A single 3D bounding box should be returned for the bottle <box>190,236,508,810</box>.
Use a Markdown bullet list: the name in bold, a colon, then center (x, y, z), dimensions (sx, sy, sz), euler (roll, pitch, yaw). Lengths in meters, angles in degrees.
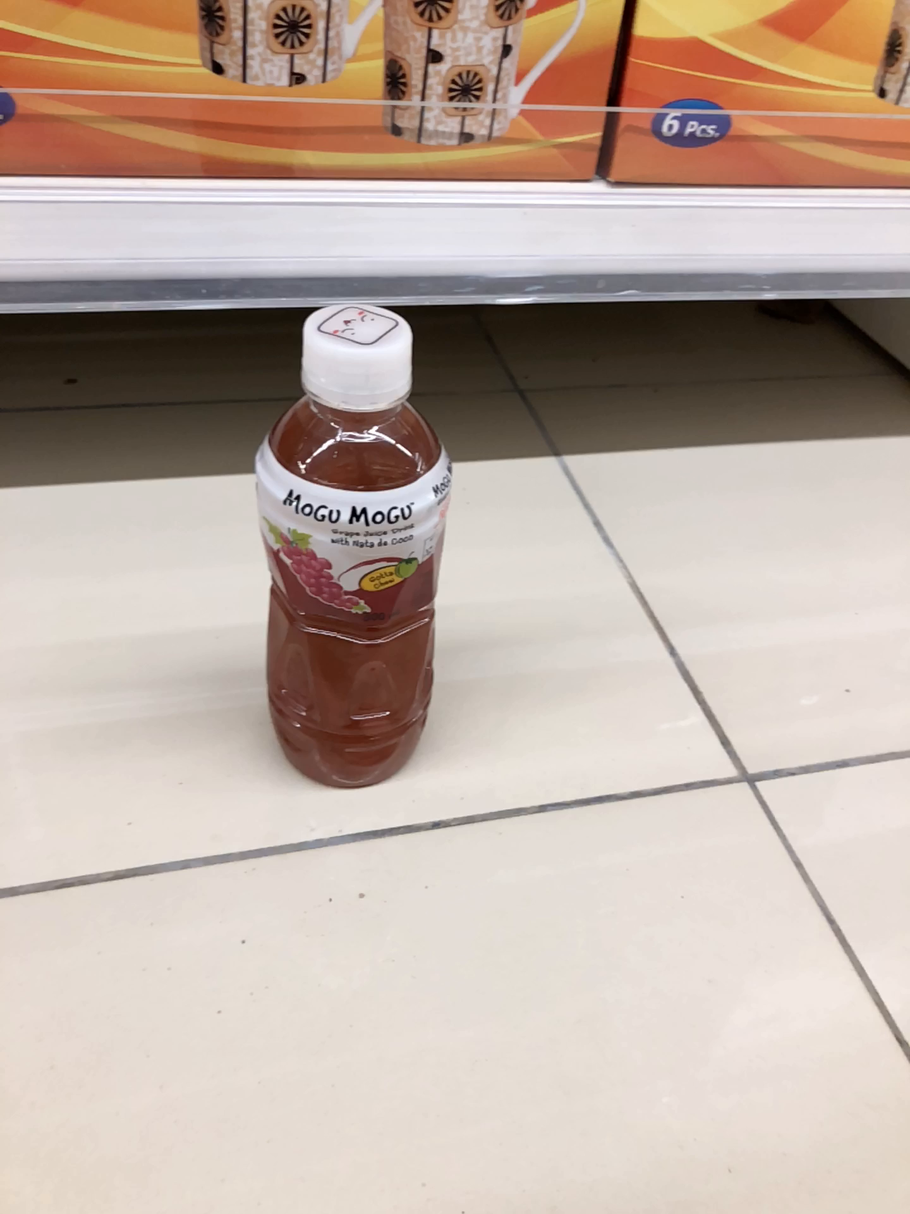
- **bottle**: center (-0.031, -0.020, 0.316), dimensions (0.070, 0.159, 0.070), euler (4, 40, -3)
